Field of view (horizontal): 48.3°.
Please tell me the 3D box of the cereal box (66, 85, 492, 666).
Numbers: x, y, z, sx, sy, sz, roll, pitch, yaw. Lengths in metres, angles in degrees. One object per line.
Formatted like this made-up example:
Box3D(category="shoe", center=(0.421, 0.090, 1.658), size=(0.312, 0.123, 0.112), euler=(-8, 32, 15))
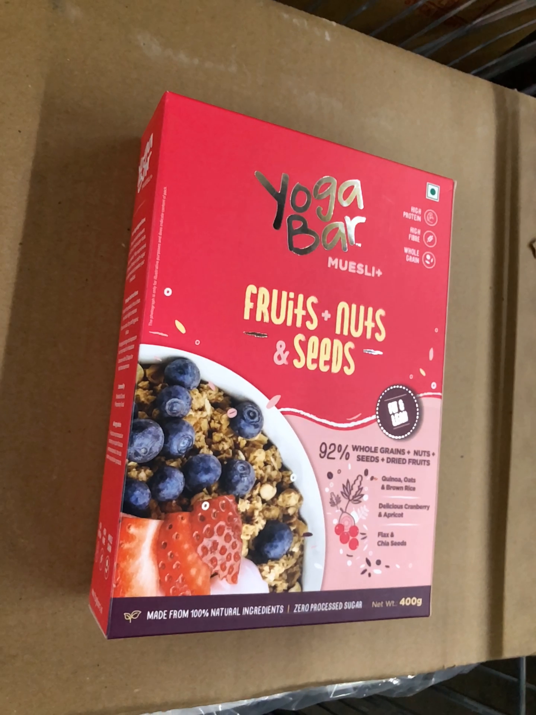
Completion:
Box3D(category="cereal box", center=(0.012, 0.013, 0.278), size=(0.170, 0.060, 0.210), euler=(8, 85, -25))
